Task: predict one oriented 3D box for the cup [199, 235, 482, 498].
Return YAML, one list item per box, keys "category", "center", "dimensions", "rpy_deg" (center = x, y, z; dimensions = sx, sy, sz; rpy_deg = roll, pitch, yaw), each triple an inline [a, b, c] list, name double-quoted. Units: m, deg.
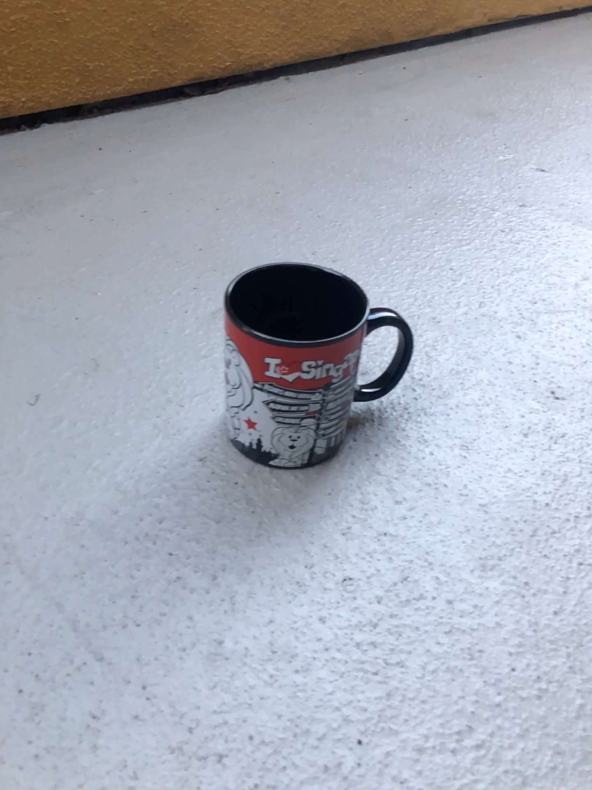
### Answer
- category: "cup"
  center: [0.017, -0.019, 0.382]
  dimensions: [0.130, 0.109, 0.080]
  rpy_deg: [-10, 44, -18]
